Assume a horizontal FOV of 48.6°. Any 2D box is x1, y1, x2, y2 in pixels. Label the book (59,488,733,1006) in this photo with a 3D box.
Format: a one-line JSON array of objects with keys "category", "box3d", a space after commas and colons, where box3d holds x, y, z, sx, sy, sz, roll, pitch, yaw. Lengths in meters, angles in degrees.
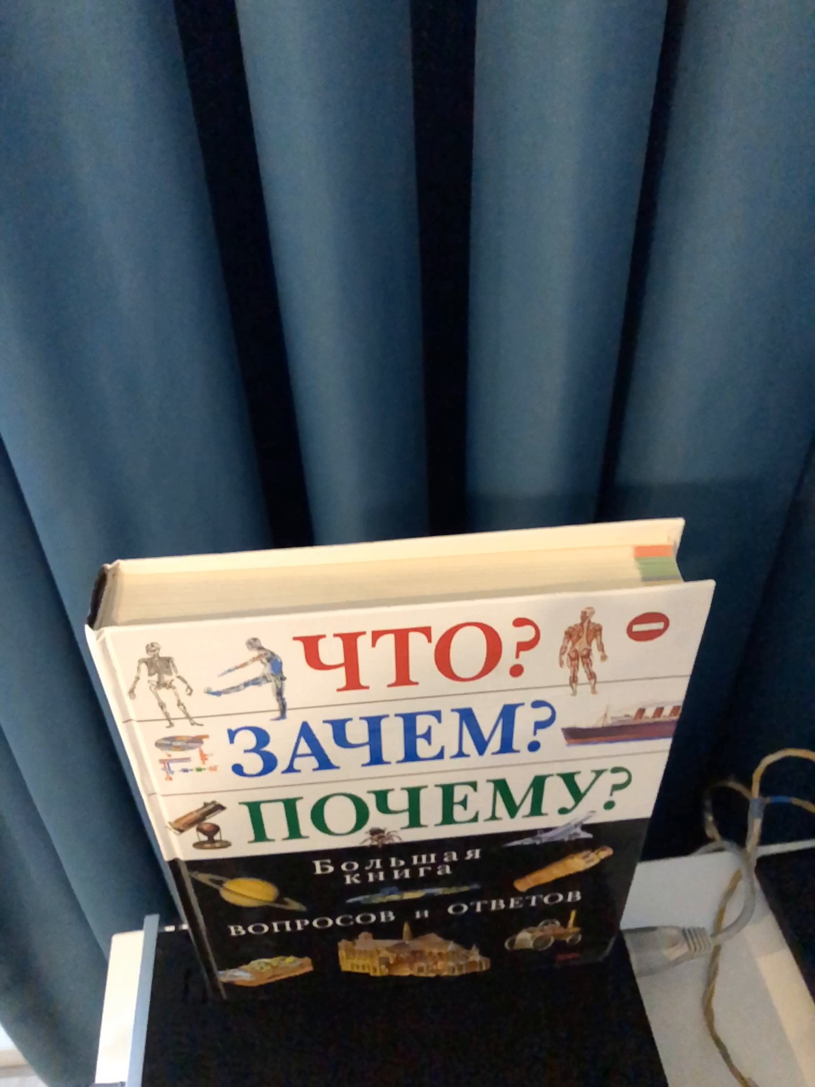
[{"category": "book", "box3d": [0.000, 0.115, 0.413, 0.224, 0.300, 0.042, -4, 41, -3]}]
